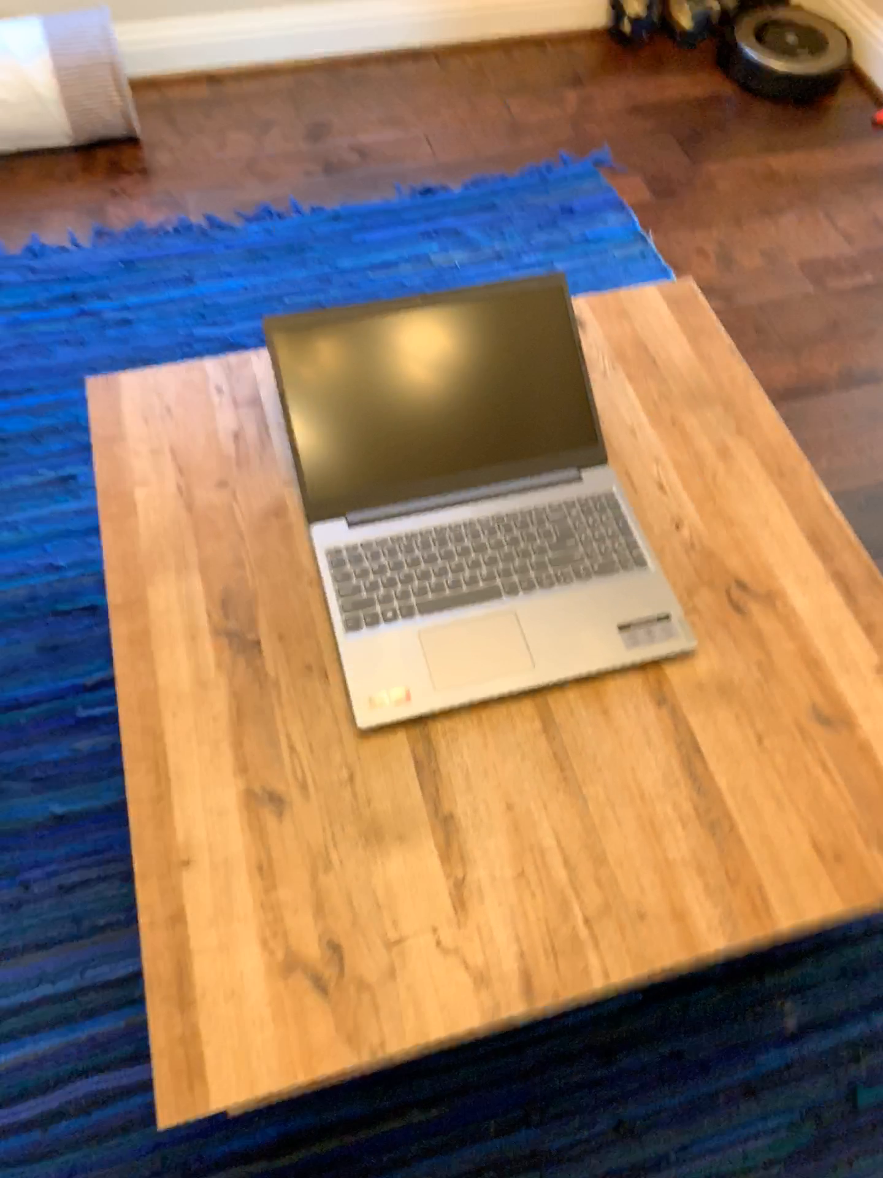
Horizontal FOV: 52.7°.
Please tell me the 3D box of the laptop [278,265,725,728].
[{"bbox_3d":[0.040,-0.124,0.957,0.346,0.099,0.462,-12,62,-9],"label":"laptop"}]
